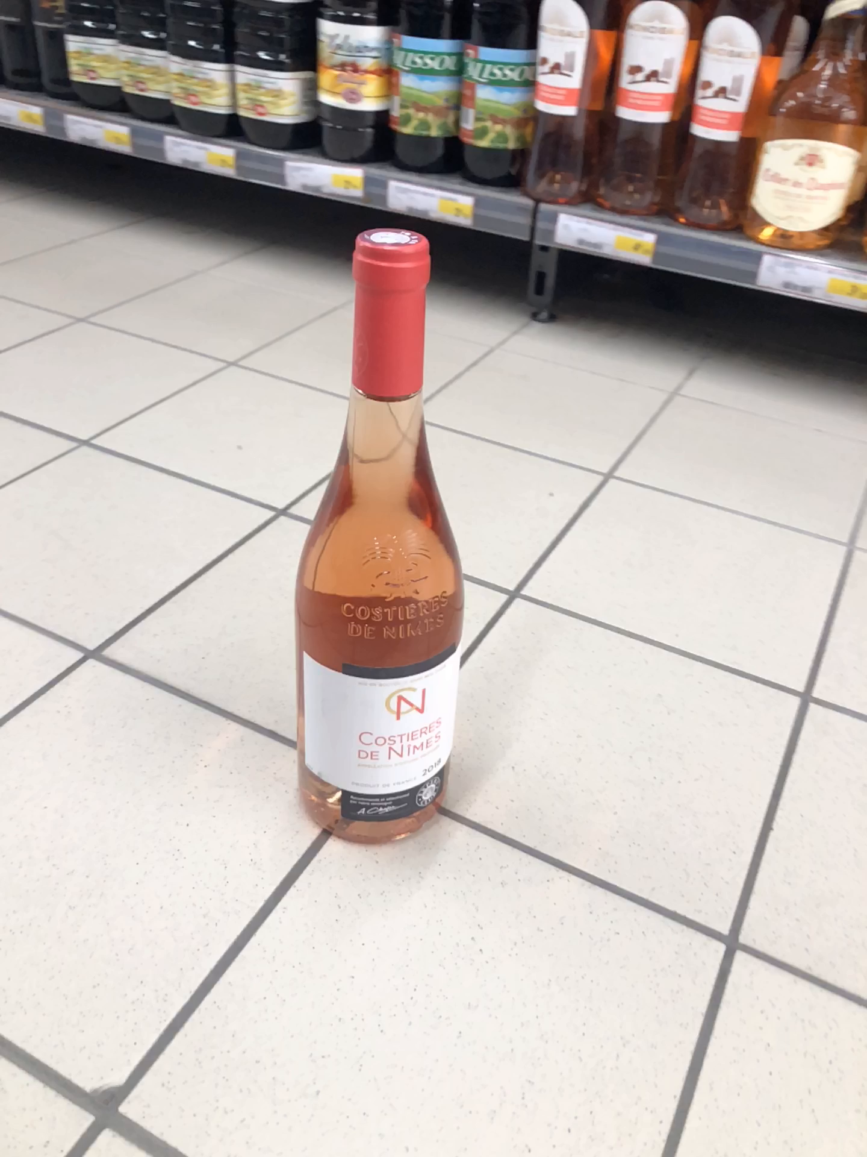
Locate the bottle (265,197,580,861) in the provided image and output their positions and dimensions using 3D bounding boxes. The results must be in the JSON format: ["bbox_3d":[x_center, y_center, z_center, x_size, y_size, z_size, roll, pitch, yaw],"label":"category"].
[{"bbox_3d":[-0.016,-0.012,0.425,0.090,0.278,0.090,3,34,-2],"label":"bottle"}]
